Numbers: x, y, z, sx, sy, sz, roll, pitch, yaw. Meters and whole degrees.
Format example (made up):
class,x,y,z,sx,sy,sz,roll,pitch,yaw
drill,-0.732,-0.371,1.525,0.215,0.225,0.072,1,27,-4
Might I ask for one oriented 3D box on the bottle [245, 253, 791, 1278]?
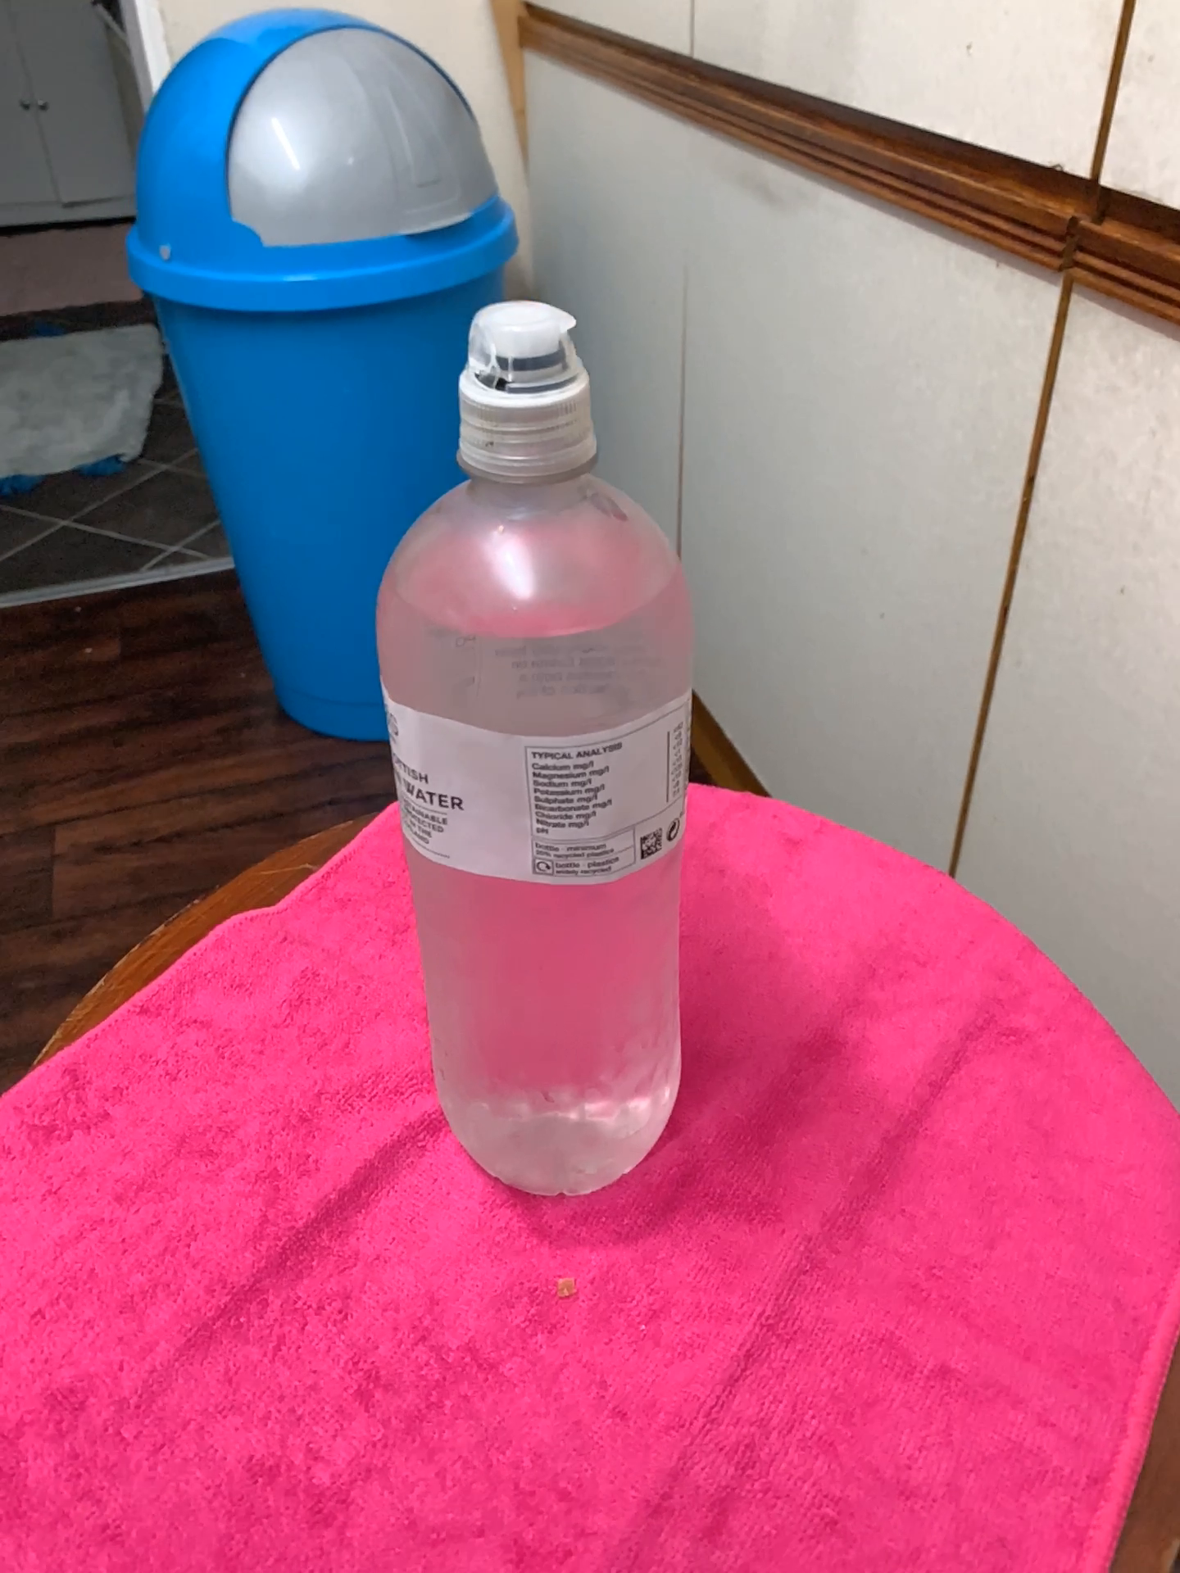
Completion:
class,x,y,z,sx,sy,sz,roll,pitch,yaw
bottle,-0.015,0.007,0.331,0.080,0.257,0.091,-22,42,-24
